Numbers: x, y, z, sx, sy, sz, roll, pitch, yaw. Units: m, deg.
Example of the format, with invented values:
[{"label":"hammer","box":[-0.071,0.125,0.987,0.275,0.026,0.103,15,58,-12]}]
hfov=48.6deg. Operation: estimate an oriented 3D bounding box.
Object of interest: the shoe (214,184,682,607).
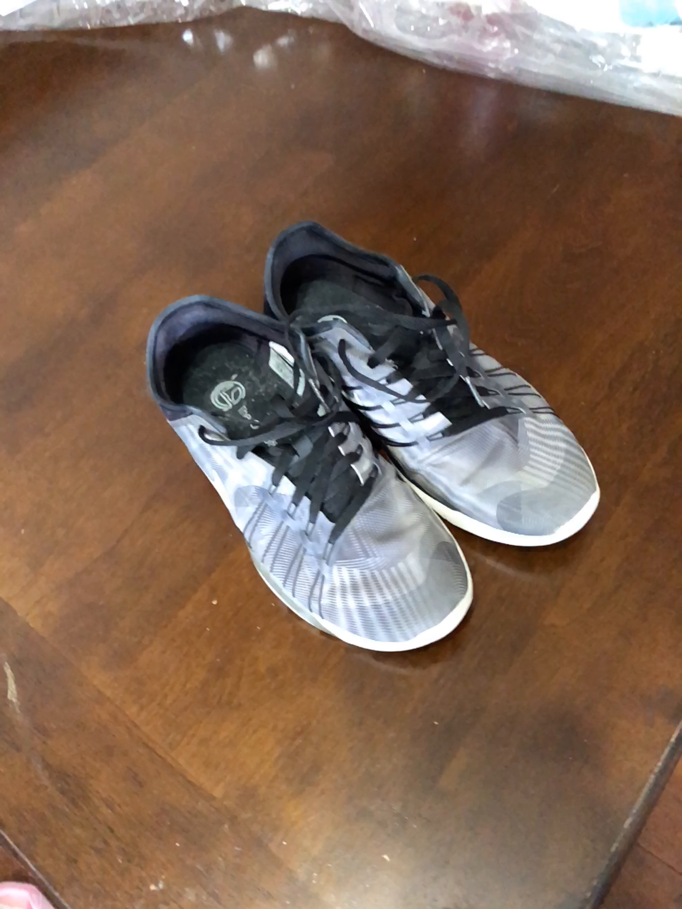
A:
[{"label":"shoe","box":[0.048,-0.042,0.416,0.100,0.080,0.230,-41,61,-16]}]

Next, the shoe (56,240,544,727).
[{"label":"shoe","box":[-0.026,0.005,0.381,0.100,0.090,0.230,-40,61,-15]}]
